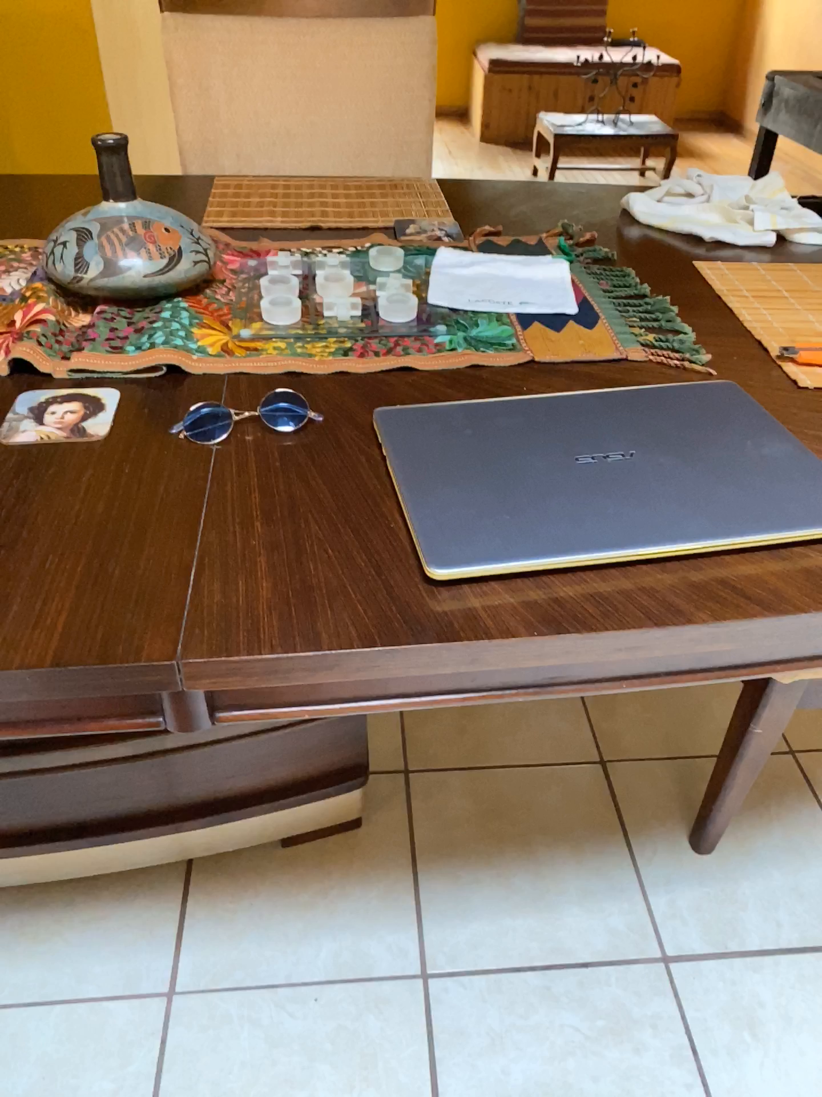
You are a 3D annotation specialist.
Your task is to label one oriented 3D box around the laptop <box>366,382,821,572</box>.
[{"bbox_3d":[0.166,-0.080,0.763,0.383,0.001,0.247,-6,39,-11],"label":"laptop"}]
